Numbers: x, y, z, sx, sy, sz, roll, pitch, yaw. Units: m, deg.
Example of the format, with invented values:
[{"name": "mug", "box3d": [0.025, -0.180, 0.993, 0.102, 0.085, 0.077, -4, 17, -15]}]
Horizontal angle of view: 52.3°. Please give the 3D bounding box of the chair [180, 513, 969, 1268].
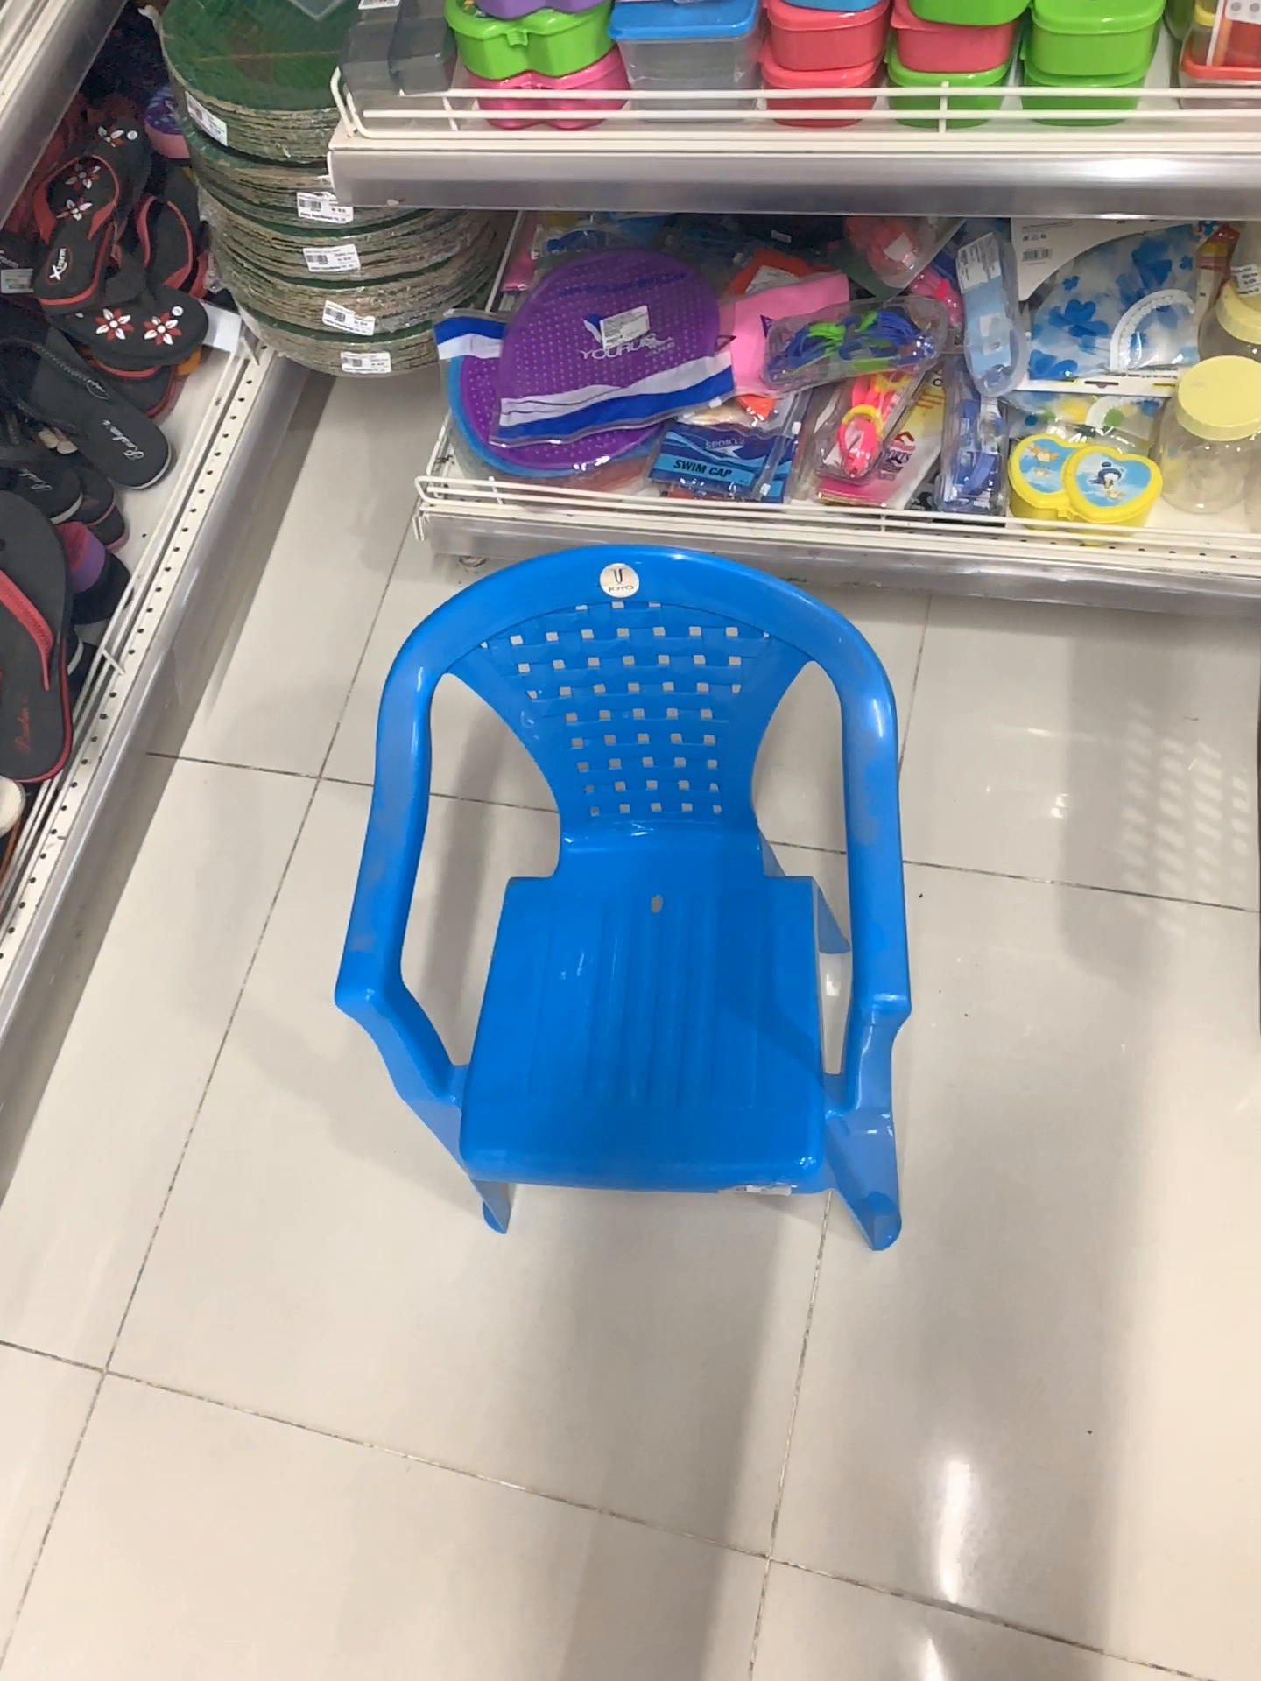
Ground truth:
[{"name": "chair", "box3d": [0.019, 0.079, 0.933, 0.400, 0.509, 0.360, 0, 66, 11]}]
